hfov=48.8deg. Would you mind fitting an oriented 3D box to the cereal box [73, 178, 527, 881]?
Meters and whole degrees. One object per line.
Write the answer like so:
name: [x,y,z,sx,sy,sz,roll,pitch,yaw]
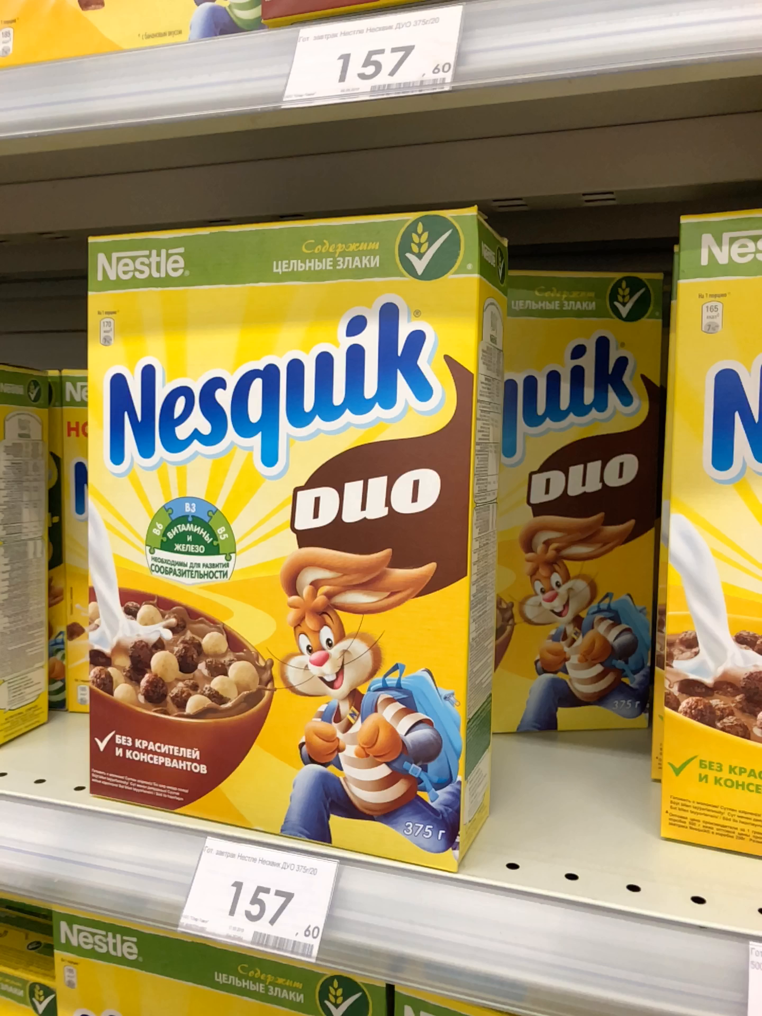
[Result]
cereal box: [-0.043,0.004,0.397,0.200,0.280,0.060,3,4,21]
